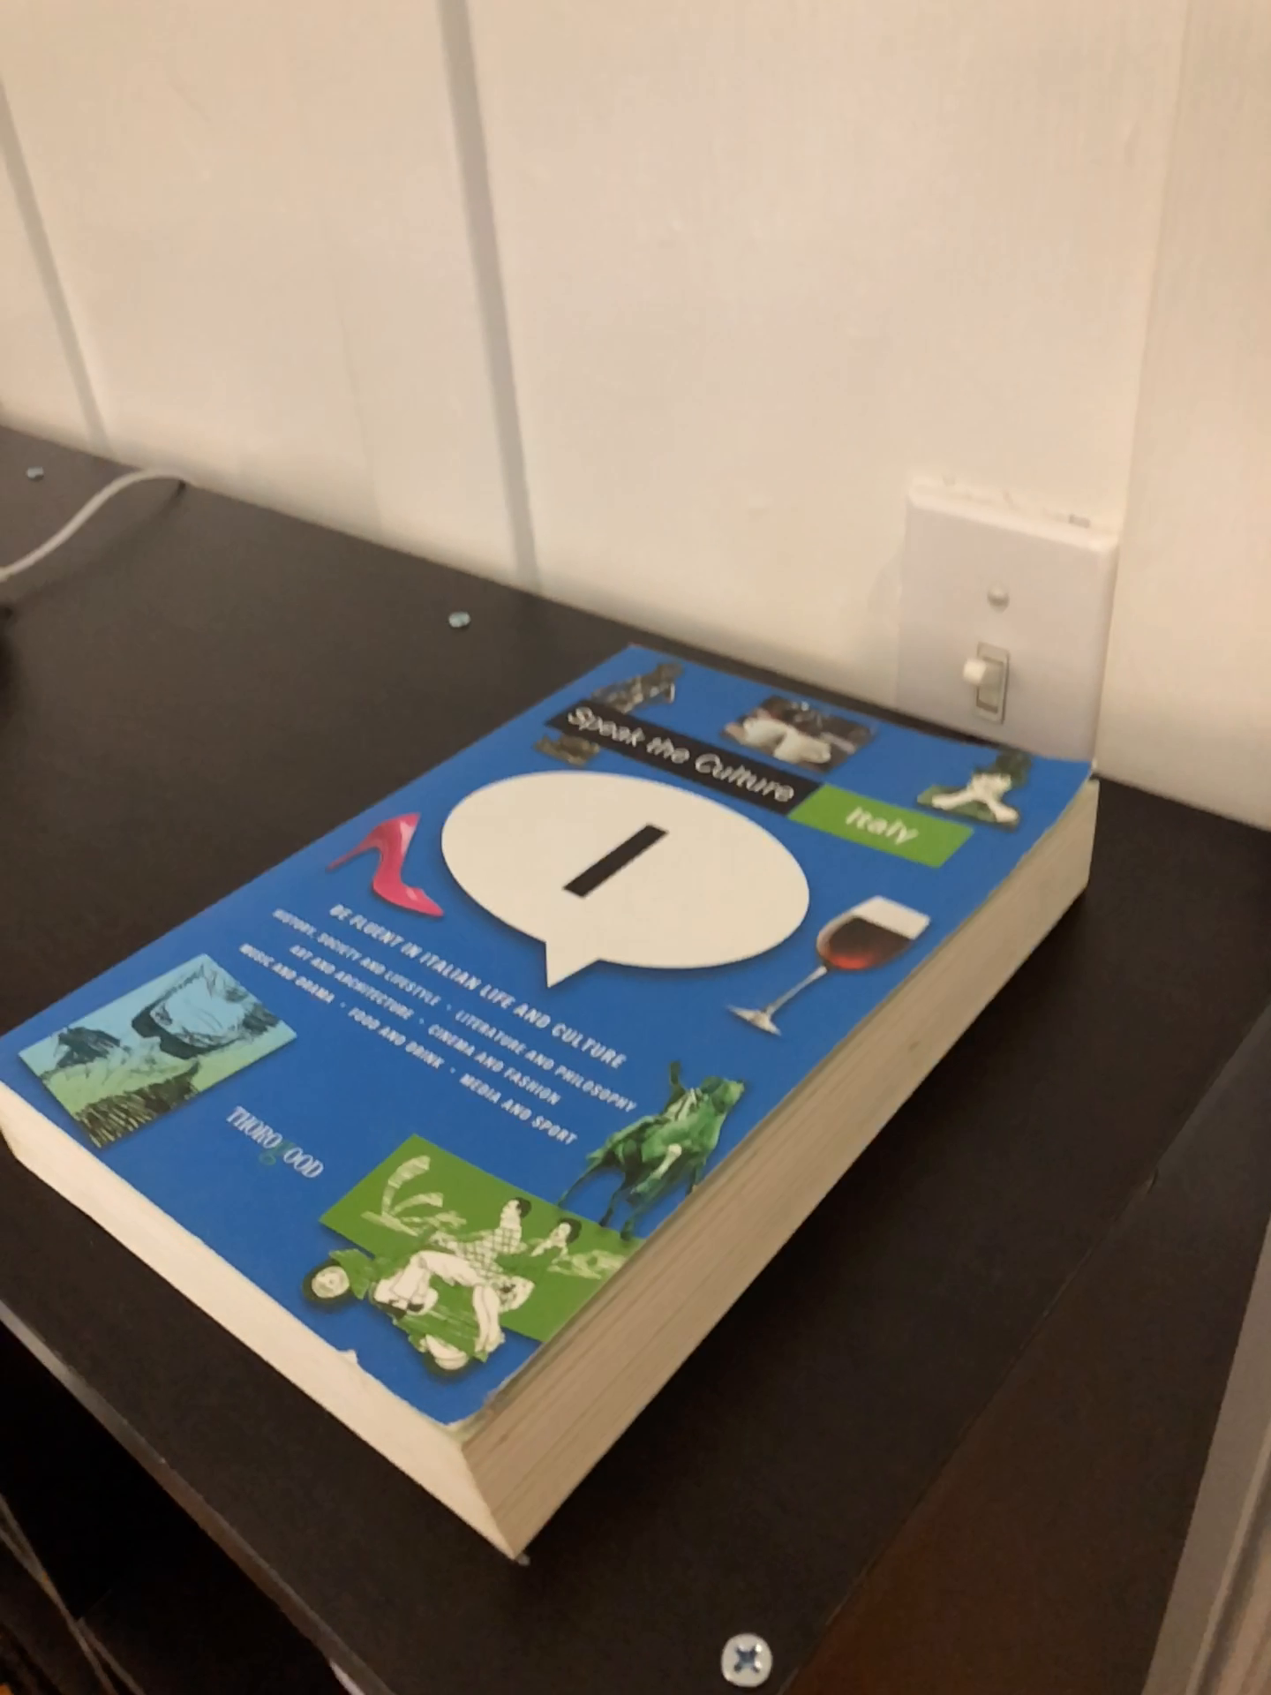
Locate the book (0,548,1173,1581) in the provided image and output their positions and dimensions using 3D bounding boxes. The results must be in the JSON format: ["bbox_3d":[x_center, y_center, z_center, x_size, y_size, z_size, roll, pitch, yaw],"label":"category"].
[{"bbox_3d":[-0.020,0.007,0.344,0.200,0.030,0.261,22,43,33],"label":"book"}]
